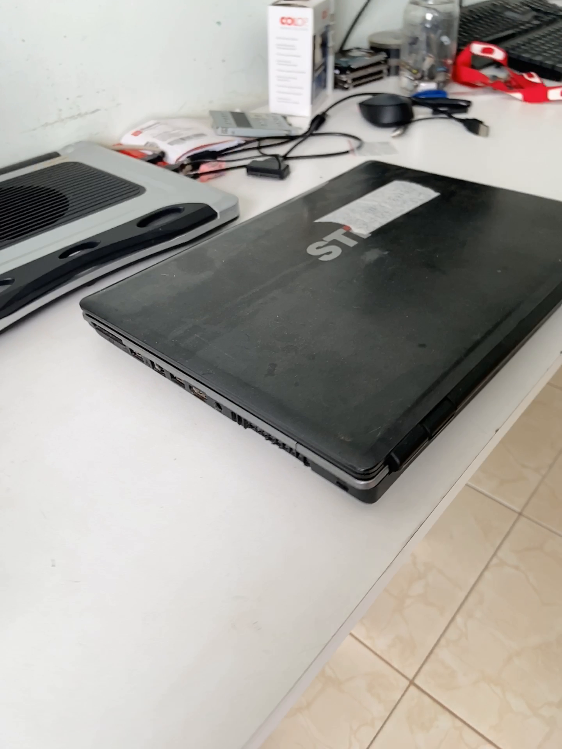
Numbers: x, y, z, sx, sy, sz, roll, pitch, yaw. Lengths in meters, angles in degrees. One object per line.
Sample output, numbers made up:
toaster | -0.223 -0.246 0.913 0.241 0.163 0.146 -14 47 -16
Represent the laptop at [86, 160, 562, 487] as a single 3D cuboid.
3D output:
laptop | 0.069 -0.081 0.422 0.235 0.006 0.339 28 49 33
